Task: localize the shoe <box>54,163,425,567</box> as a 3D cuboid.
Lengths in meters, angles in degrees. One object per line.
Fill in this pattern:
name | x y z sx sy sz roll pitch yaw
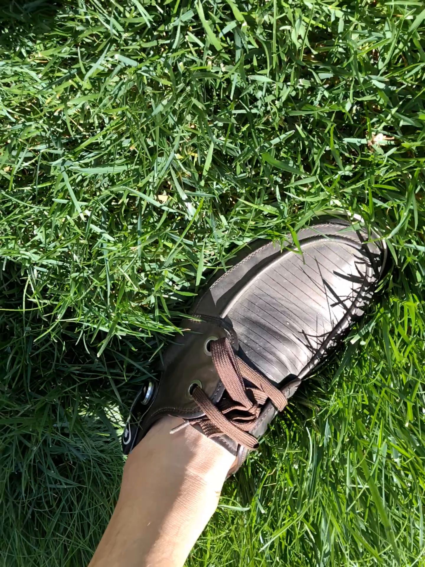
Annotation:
shoe | 0.018 0.071 0.334 0.112 0.093 0.281 35 113 -9
